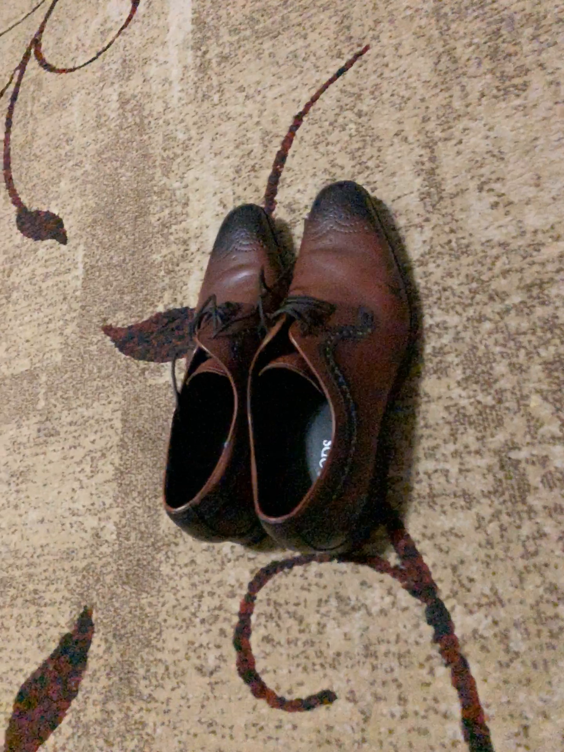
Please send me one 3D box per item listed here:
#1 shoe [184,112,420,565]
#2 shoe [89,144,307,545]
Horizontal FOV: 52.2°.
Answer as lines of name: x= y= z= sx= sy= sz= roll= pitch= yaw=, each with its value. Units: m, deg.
shoe: x=0.028 y=-0.021 z=0.399 sx=0.096 sy=0.115 sz=0.274 roll=-4 pitch=69 yaw=28
shoe: x=-0.050 y=-0.018 z=0.443 sx=0.096 sy=0.115 sz=0.275 roll=-9 pitch=66 yaw=26
